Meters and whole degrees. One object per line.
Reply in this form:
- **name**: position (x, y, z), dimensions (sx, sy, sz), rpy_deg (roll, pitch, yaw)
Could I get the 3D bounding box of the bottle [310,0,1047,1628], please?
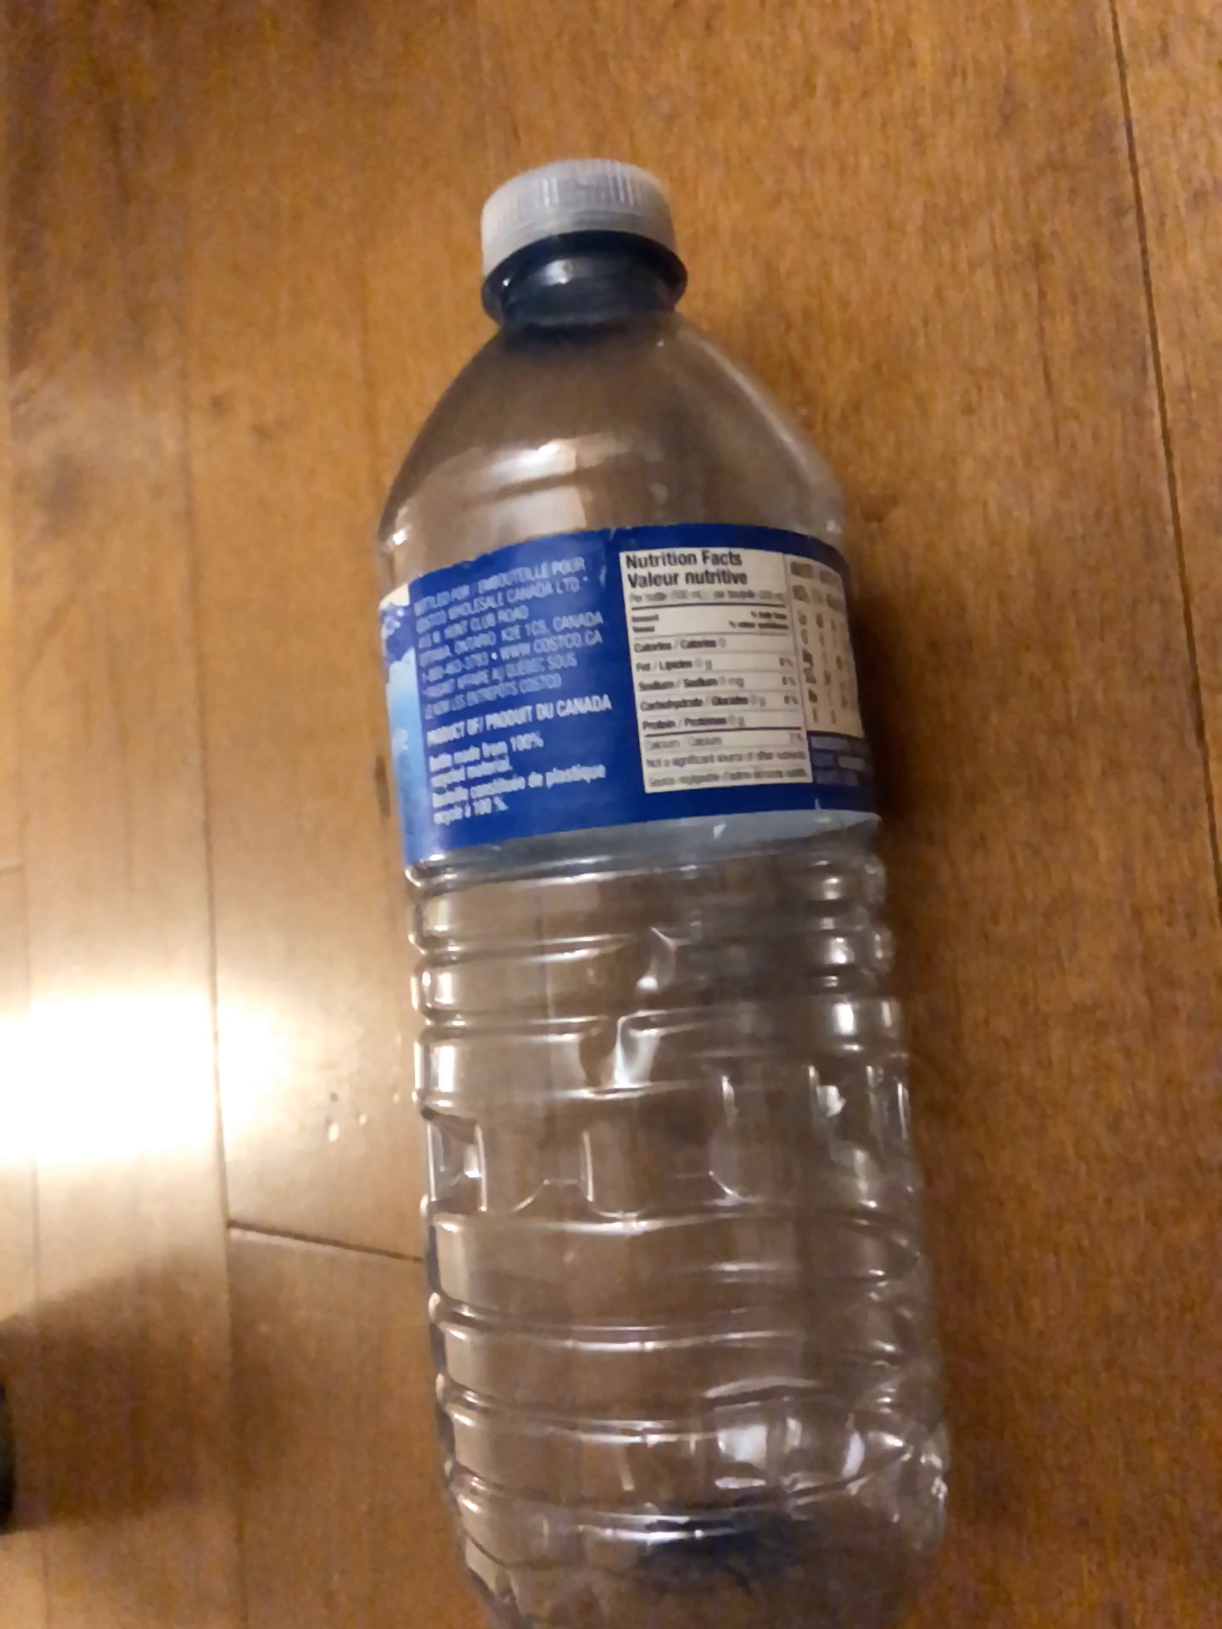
- **bottle**: position (0.006, 0.000, 0.194), dimensions (0.070, 0.070, 0.200), rpy_deg (-5, 82, 5)
